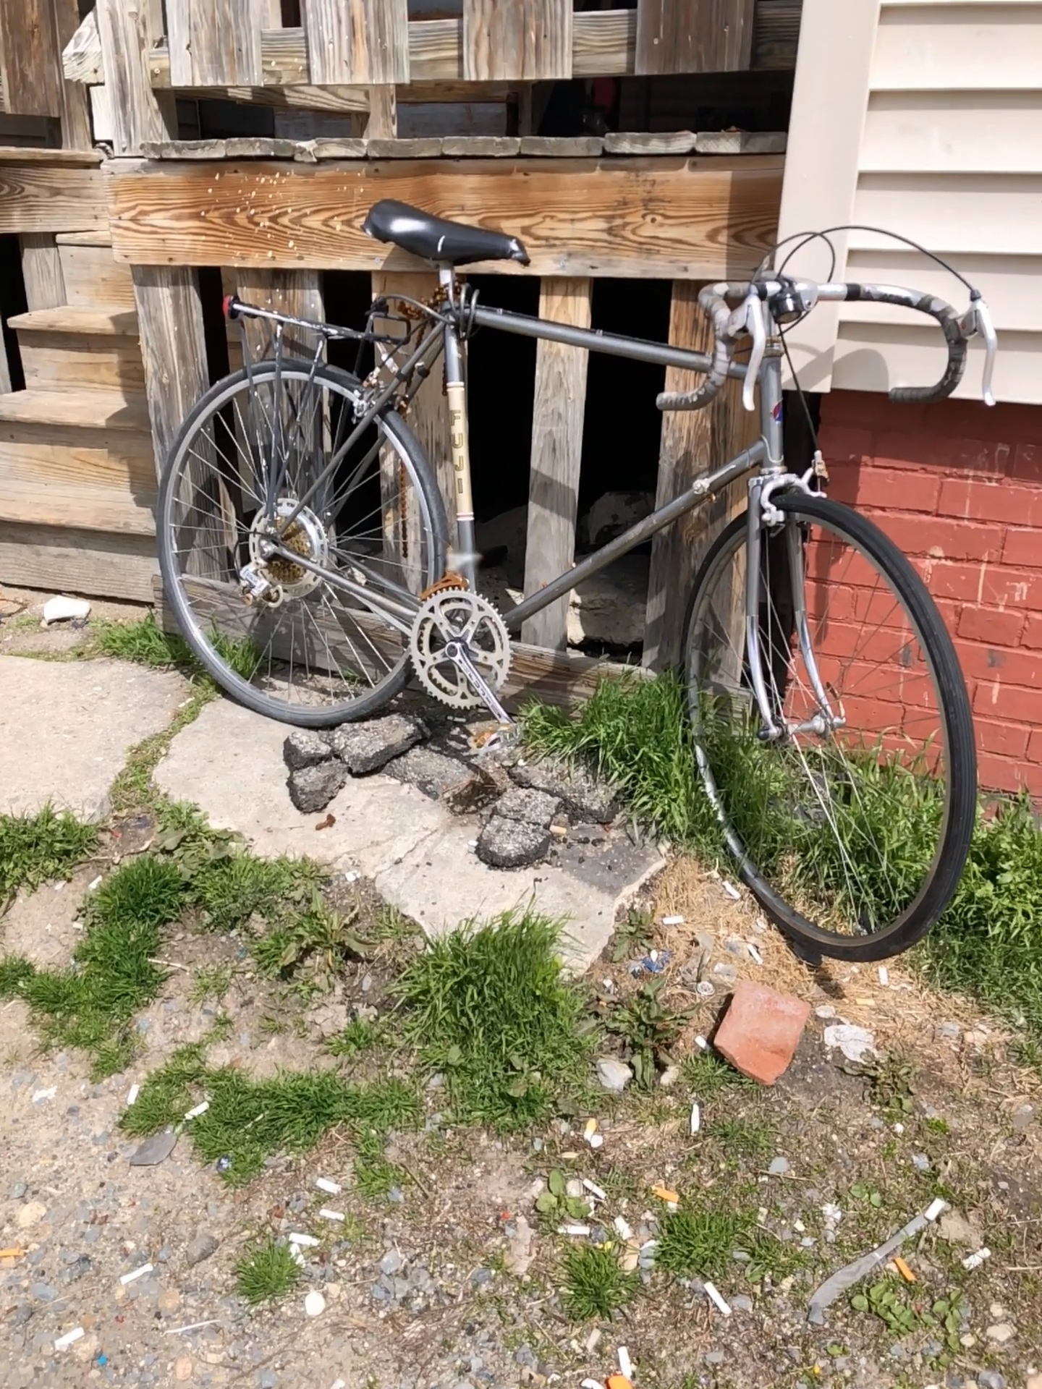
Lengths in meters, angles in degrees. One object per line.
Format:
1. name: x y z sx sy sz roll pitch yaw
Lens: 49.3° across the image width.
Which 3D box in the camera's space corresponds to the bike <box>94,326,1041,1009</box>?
1. bike: -0.008 -0.156 1.456 1.202 0.478 0.400 18 28 33
